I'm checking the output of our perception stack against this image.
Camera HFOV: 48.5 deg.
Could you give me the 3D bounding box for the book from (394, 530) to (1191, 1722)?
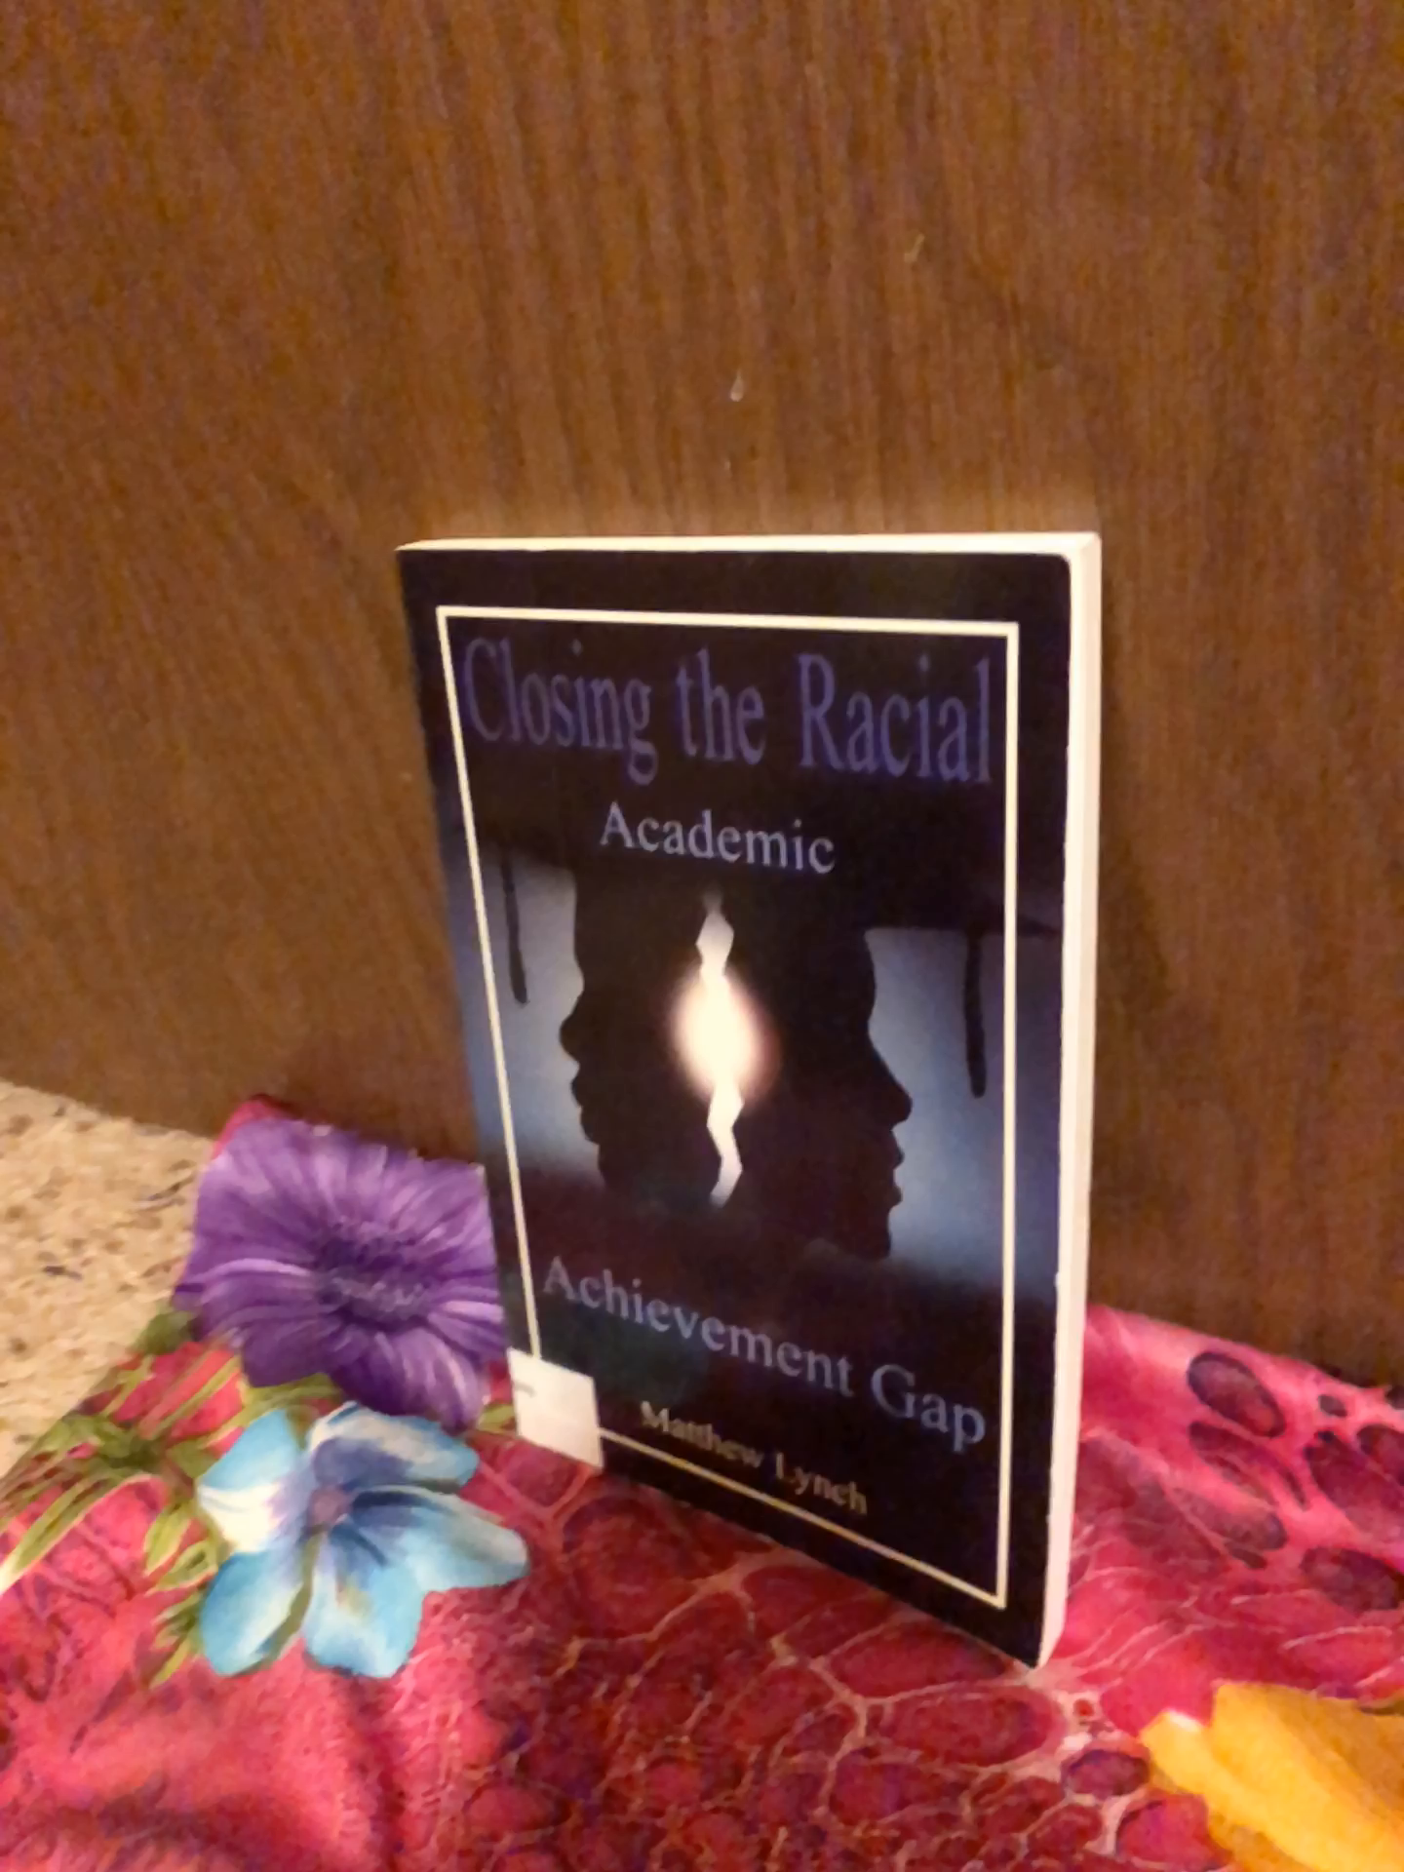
[{"bbox_3d":[0.020,0.036,0.324,0.146,0.230,0.036,10,27,33],"label":"book"}]
